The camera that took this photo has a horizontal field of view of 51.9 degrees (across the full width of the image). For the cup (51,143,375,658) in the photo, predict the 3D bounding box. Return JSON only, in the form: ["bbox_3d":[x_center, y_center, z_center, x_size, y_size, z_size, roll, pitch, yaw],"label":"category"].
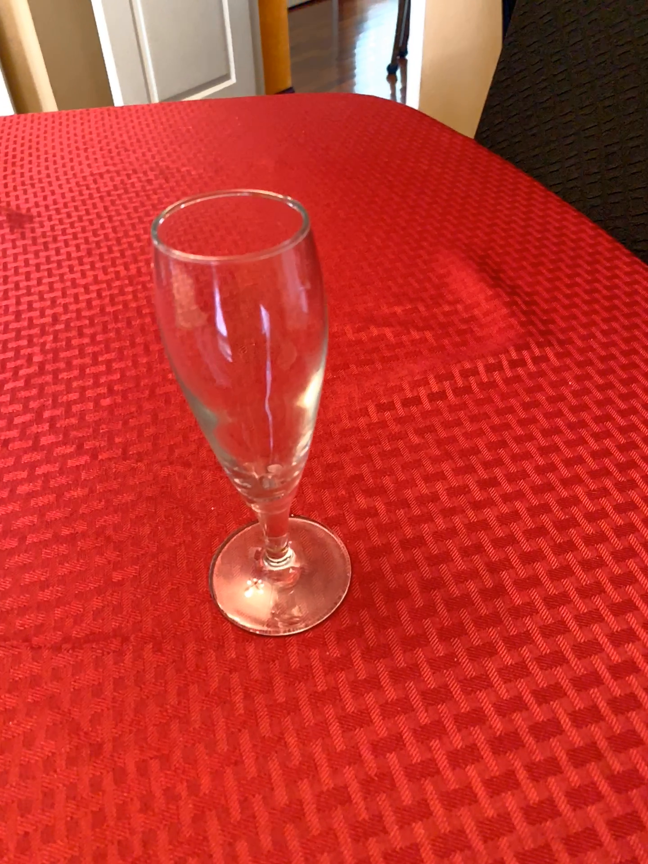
[{"bbox_3d":[-0.029,-0.001,0.255,0.080,0.179,0.080,-1,42,1],"label":"cup"}]
